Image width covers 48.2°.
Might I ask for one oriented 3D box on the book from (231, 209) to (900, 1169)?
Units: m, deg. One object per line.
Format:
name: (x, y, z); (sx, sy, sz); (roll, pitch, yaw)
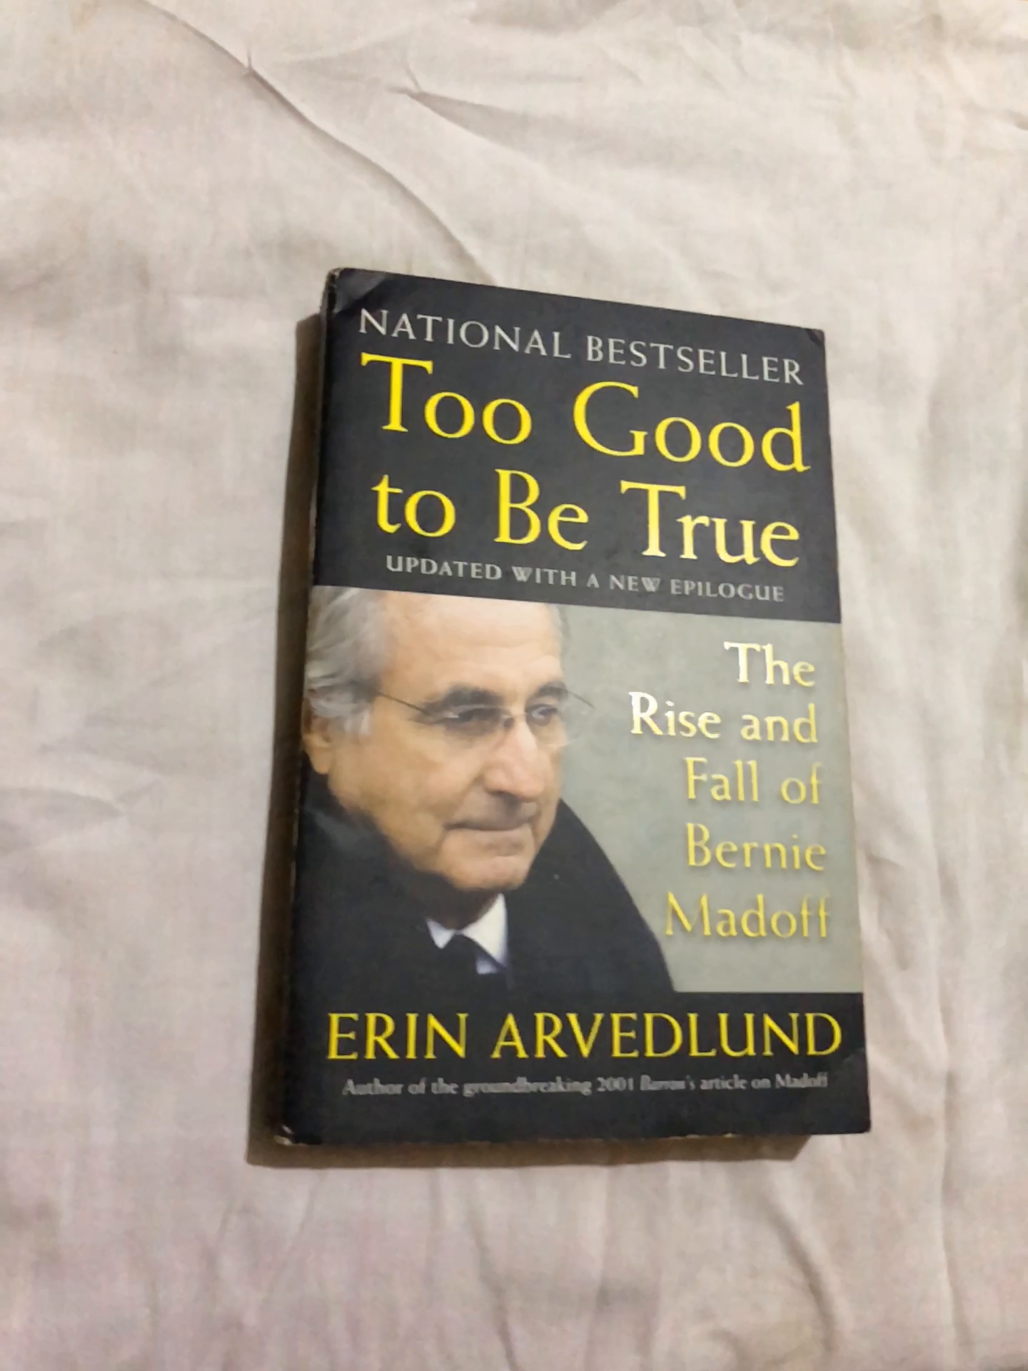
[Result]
book: (0.014, -0.003, 0.294); (0.150, 0.030, 0.230); (3, 76, -10)
